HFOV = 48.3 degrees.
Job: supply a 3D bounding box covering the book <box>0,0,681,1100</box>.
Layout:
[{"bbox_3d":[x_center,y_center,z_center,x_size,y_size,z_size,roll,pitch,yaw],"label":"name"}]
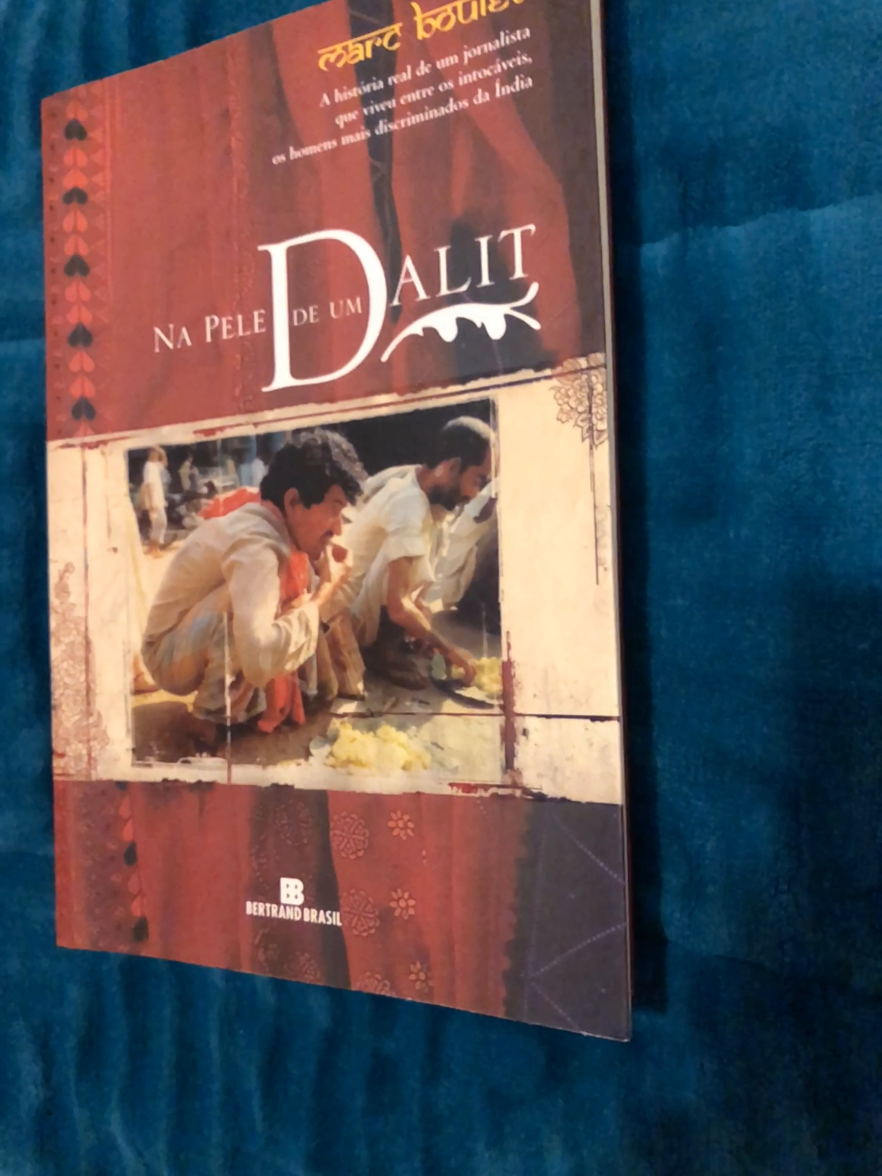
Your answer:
[{"bbox_3d":[-0.034,-0.021,0.220,0.160,0.030,0.220,-3,87,28],"label":"book"}]
